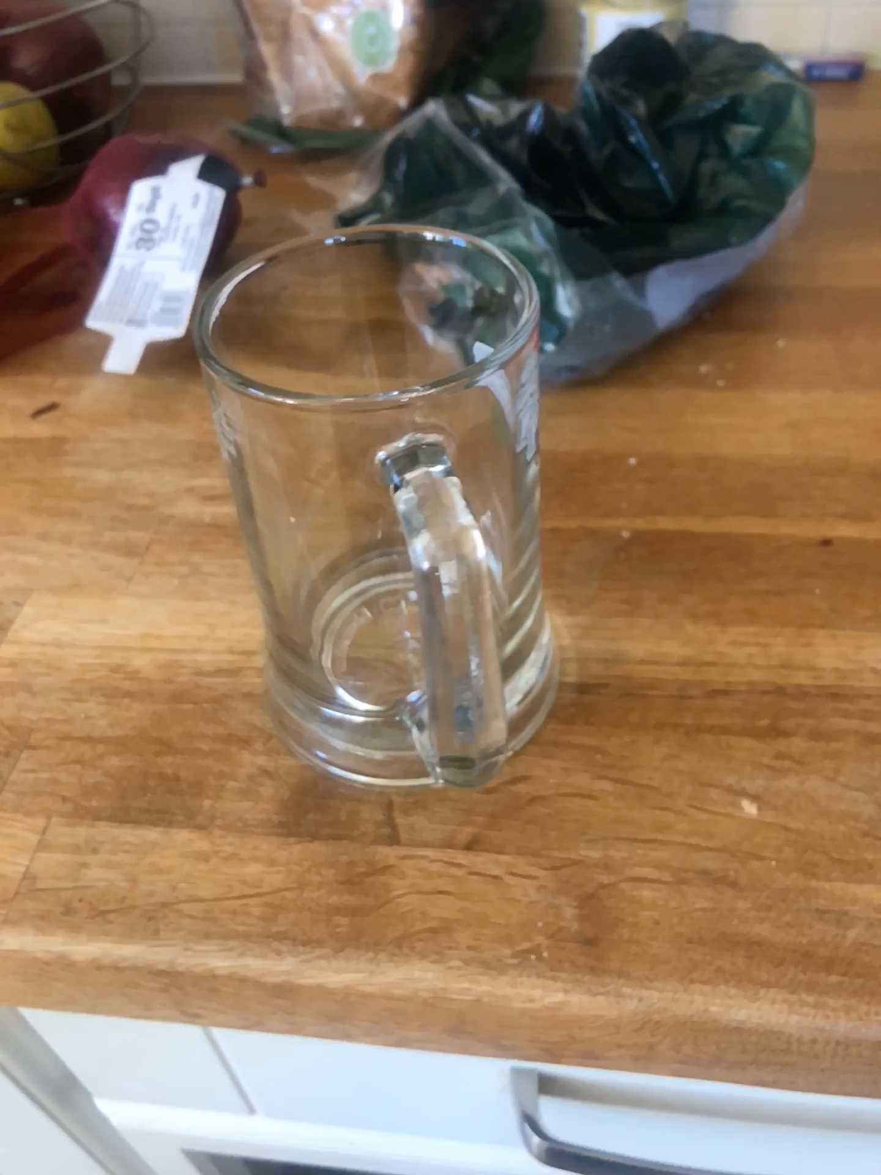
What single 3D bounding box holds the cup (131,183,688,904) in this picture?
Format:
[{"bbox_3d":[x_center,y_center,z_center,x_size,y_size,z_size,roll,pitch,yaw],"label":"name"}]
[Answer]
[{"bbox_3d":[-0.012,-0.015,0.239,0.091,0.109,0.115,-13,43,-7],"label":"cup"}]
